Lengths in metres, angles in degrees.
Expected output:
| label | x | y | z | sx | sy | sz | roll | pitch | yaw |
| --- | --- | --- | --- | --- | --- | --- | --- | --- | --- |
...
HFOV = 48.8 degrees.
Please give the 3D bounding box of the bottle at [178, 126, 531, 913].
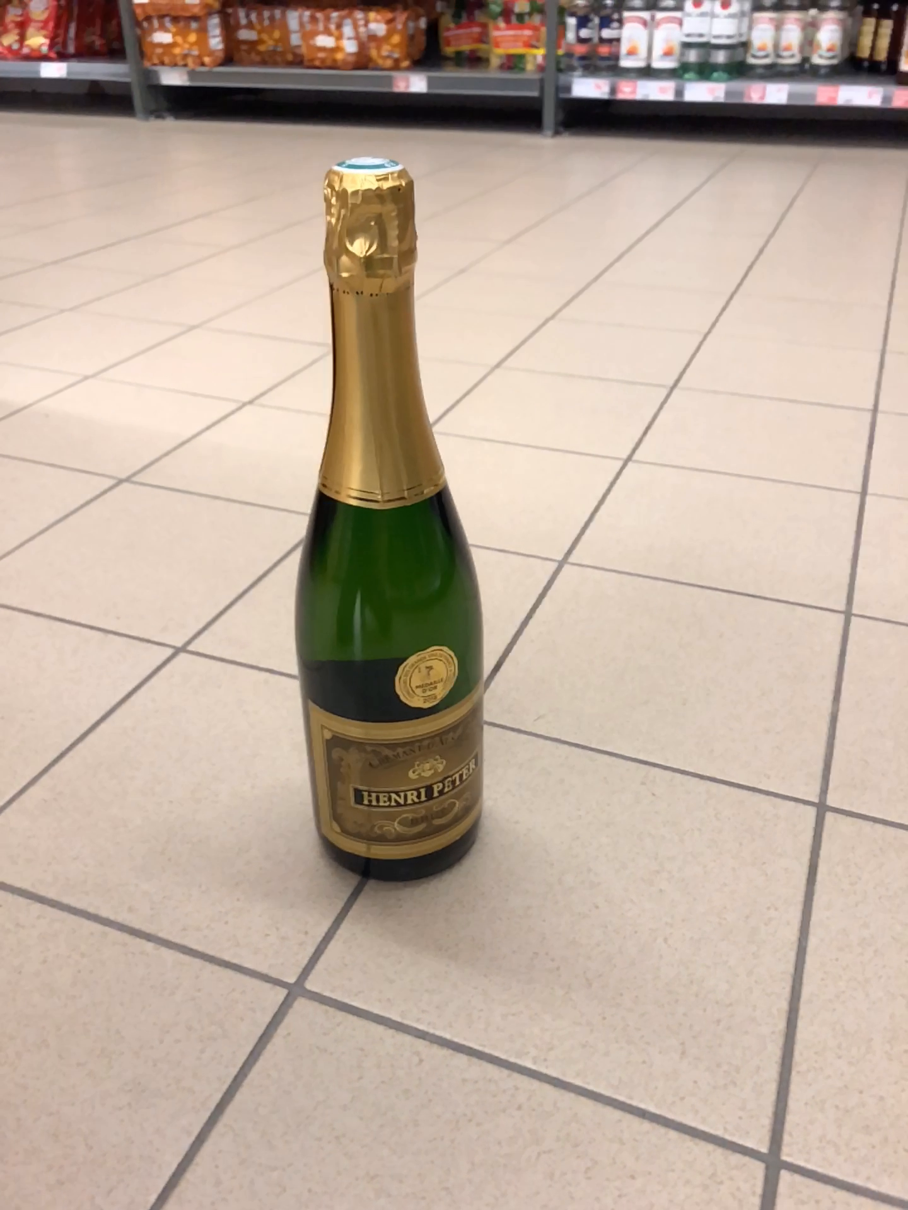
| label | x | y | z | sx | sy | sz | roll | pitch | yaw |
| --- | --- | --- | --- | --- | --- | --- | --- | --- | --- |
| bottle | -0.037 | -0.027 | 0.427 | 0.100 | 0.308 | 0.100 | -1 | 31 | 0 |
